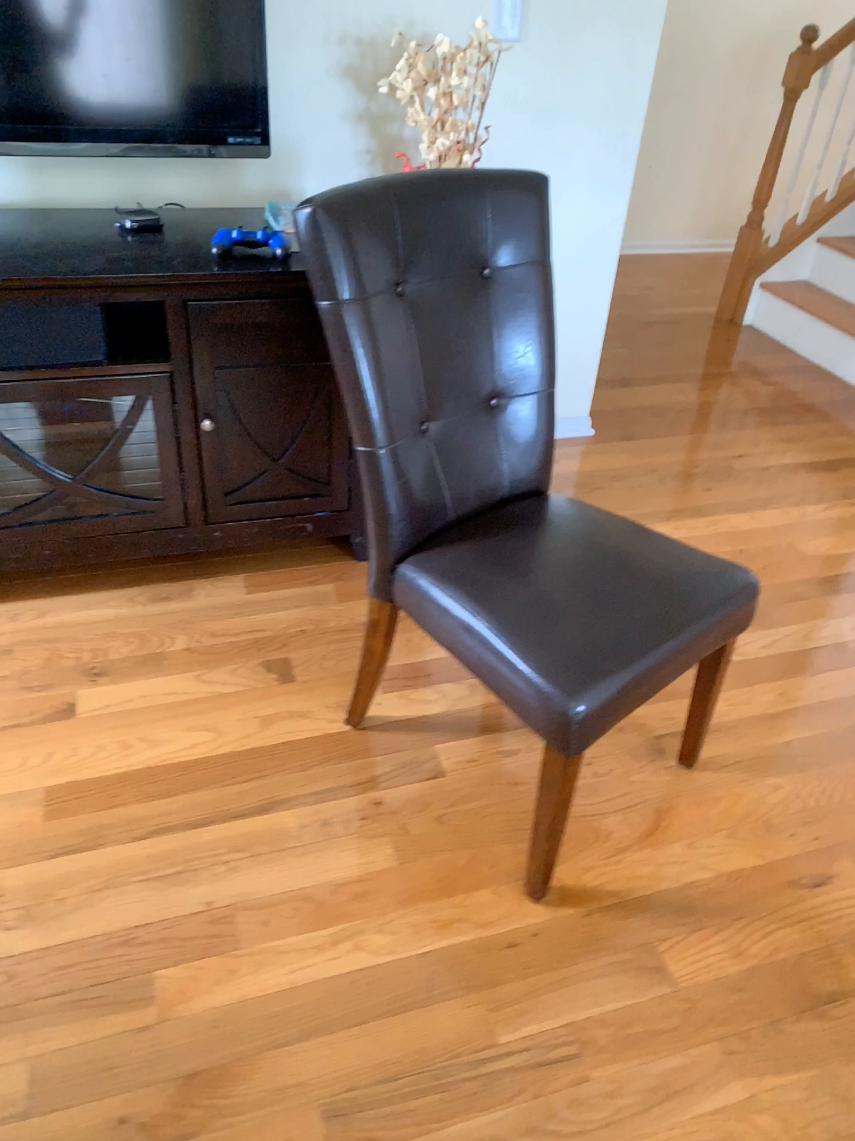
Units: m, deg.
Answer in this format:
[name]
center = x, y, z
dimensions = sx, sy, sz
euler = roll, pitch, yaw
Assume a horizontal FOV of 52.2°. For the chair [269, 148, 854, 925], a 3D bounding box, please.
[chair]
center = 0.164, -0.090, 1.448
dimensions = 0.500, 0.968, 0.704
euler = -26, 45, -36
